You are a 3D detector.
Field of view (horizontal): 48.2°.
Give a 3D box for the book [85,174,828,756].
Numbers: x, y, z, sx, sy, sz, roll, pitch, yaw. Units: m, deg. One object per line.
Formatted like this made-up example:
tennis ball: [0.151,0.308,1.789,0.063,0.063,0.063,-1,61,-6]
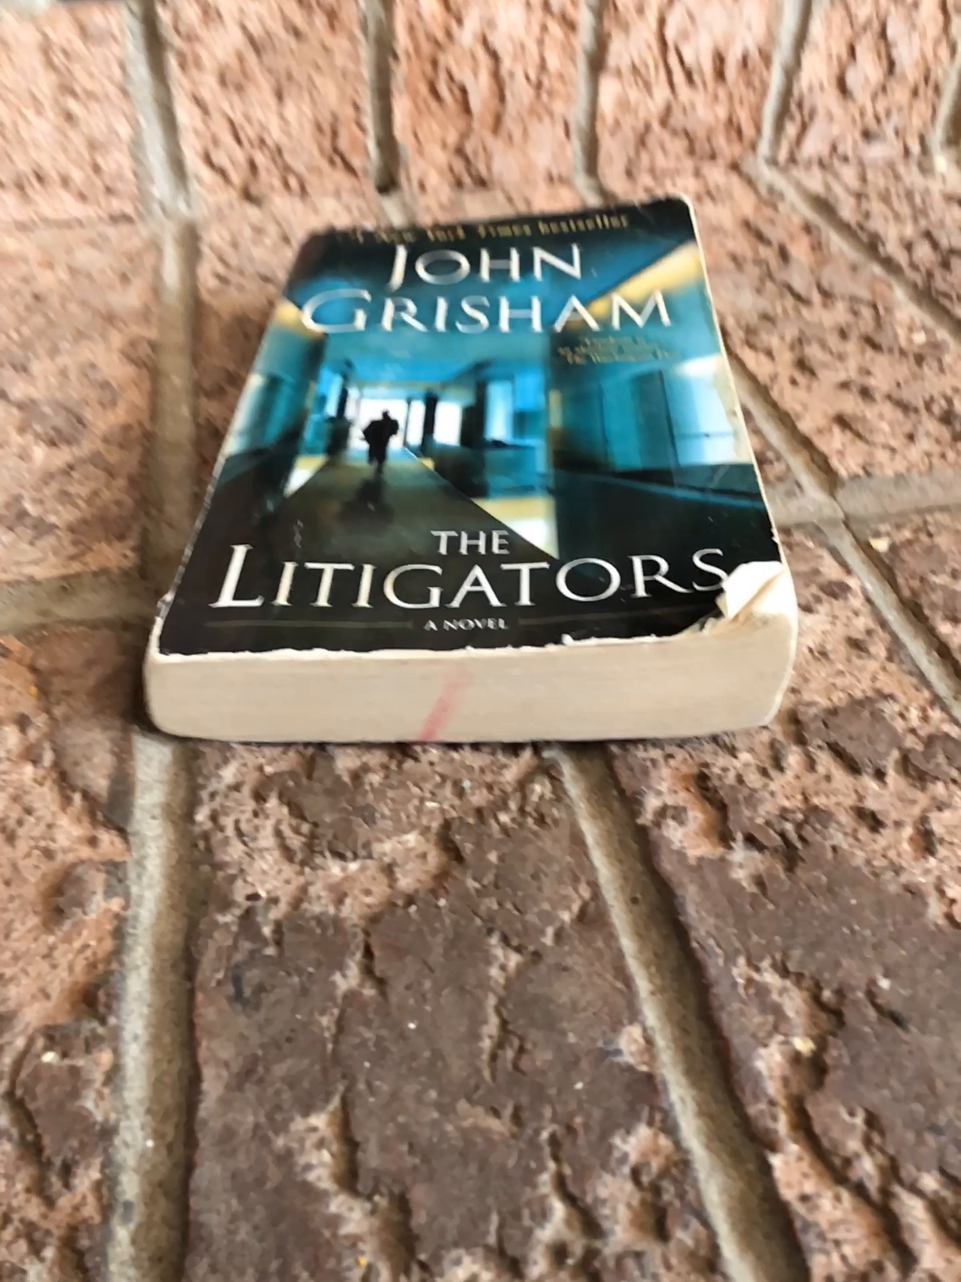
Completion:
book: [0.000,-0.060,0.276,0.135,0.033,0.200,-1,44,6]
